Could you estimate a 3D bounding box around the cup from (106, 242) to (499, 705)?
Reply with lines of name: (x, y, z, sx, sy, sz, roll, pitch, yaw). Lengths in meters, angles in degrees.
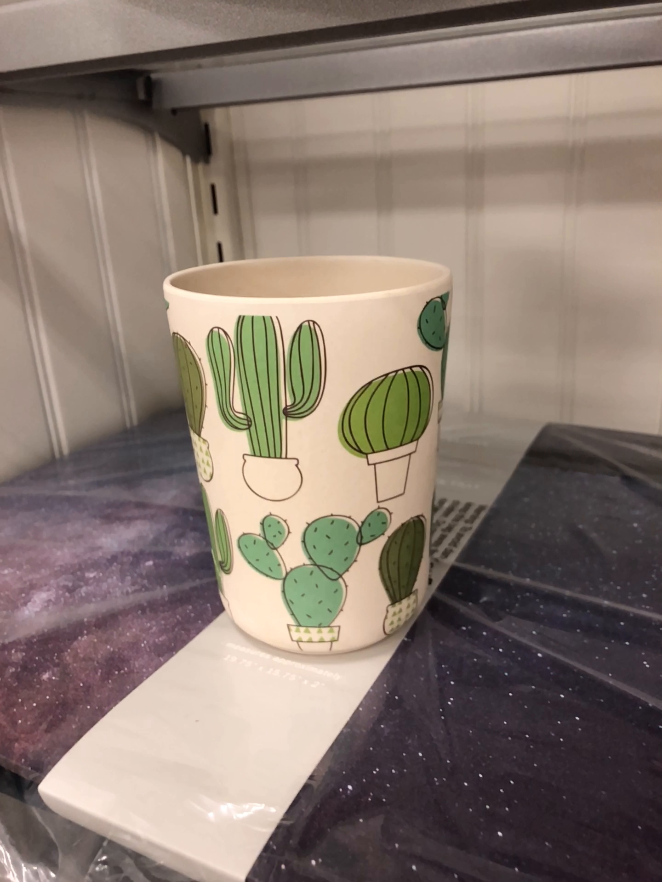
cup: (-0.006, -0.001, 0.275, 0.100, 0.129, 0.090, 15, 27, 40)
